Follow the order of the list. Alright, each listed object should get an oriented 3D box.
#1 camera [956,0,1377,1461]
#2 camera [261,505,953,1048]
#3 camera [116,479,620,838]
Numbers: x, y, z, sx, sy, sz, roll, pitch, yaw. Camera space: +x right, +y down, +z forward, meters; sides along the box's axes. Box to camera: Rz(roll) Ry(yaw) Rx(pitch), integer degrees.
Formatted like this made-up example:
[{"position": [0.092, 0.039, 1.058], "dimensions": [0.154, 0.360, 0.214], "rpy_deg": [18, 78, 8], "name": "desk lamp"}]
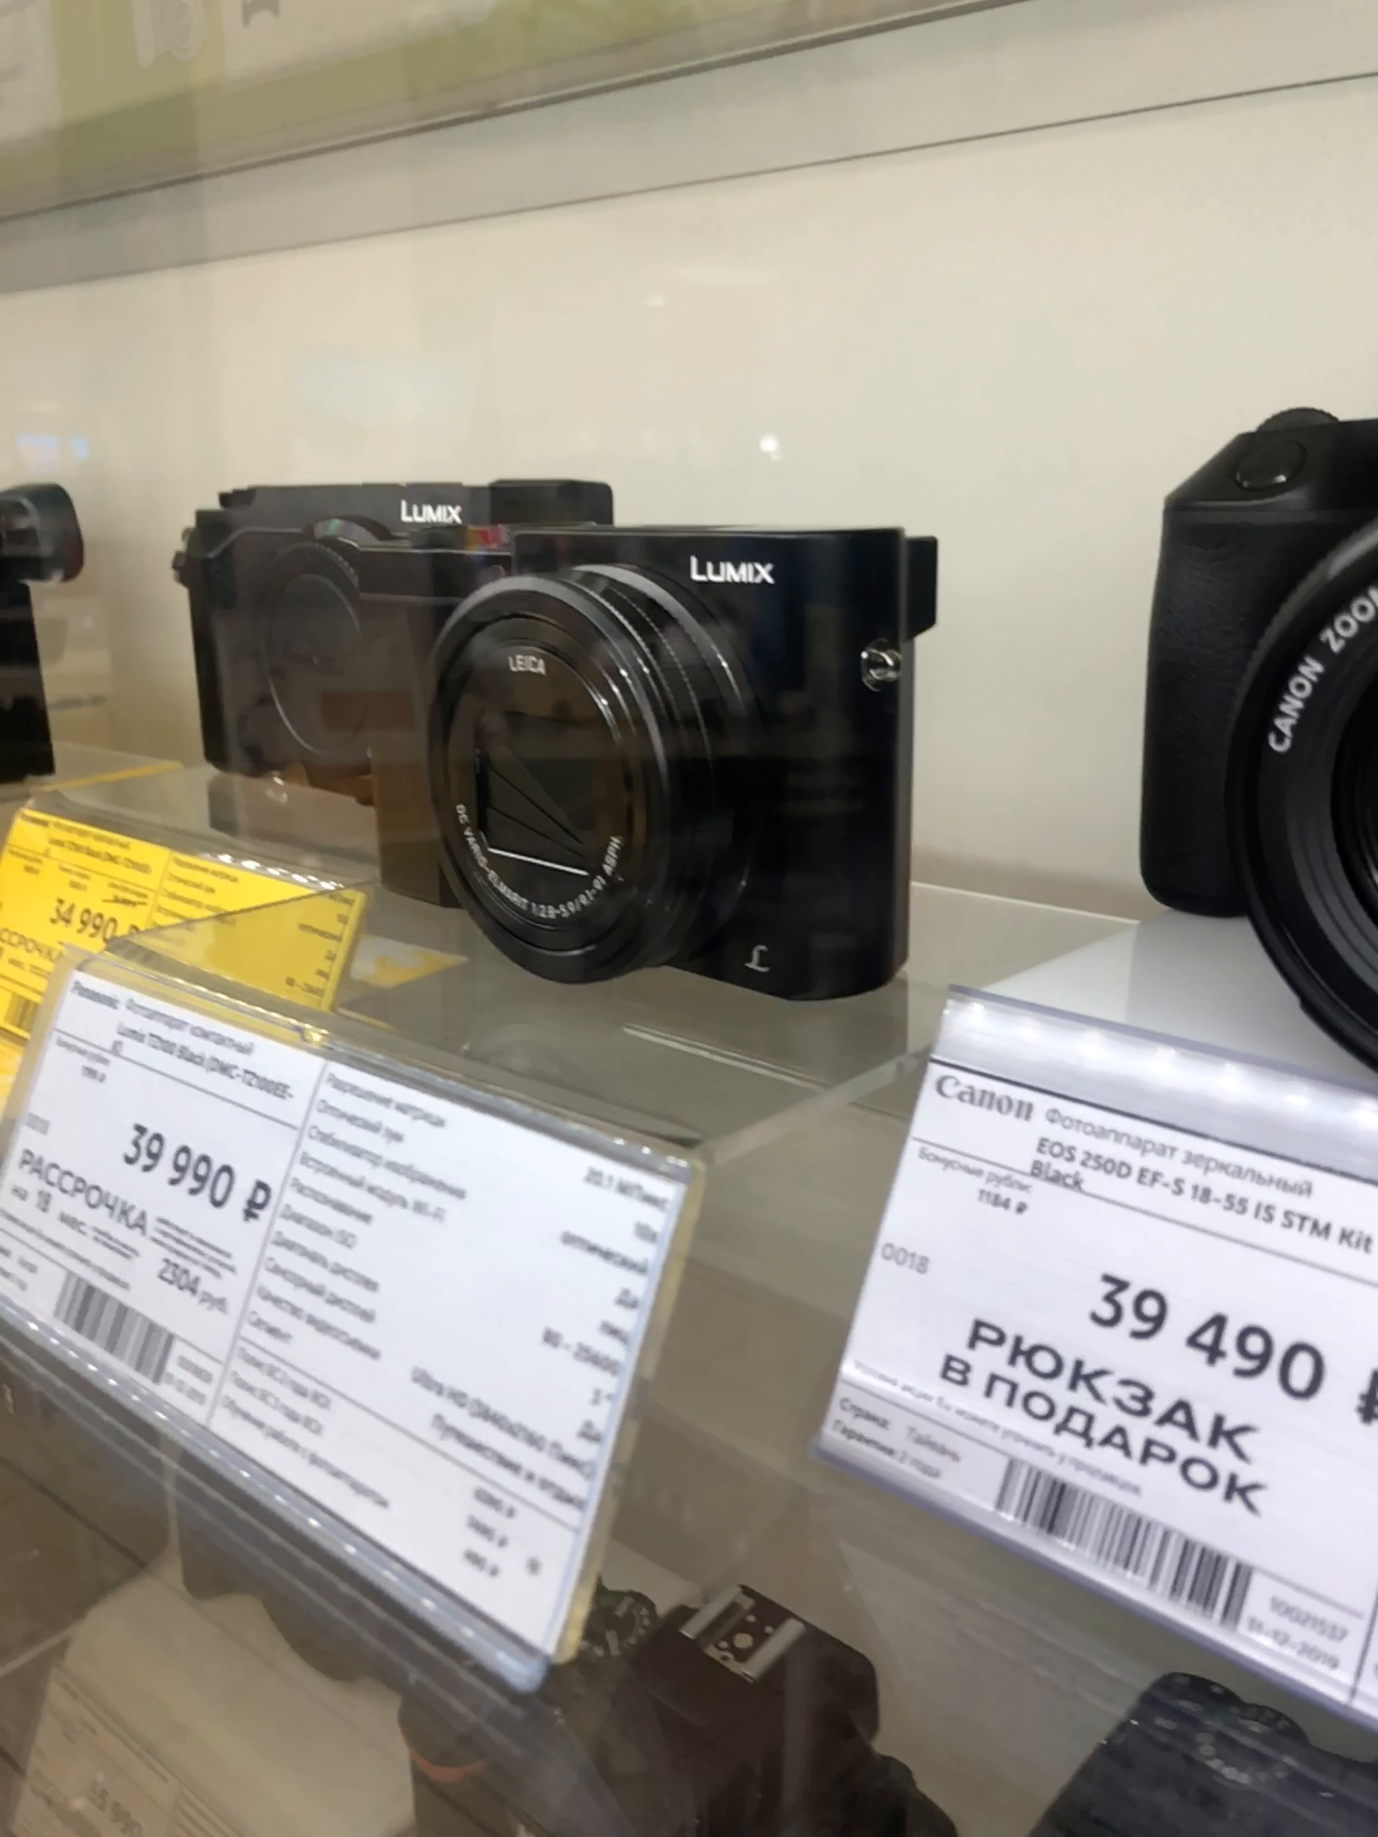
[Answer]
[{"position": [0.147, -0.044, 0.199], "dimensions": [0.158, 0.099, 0.164], "rpy_deg": [13, 23, 40], "name": "camera"}, {"position": [-0.017, -0.030, 0.243], "dimensions": [0.111, 0.068, 0.038], "rpy_deg": [13, 21, 40], "name": "camera"}, {"position": [-0.075, -0.064, 0.352], "dimensions": [0.108, 0.068, 0.055], "rpy_deg": [13, 21, 40], "name": "camera"}]
